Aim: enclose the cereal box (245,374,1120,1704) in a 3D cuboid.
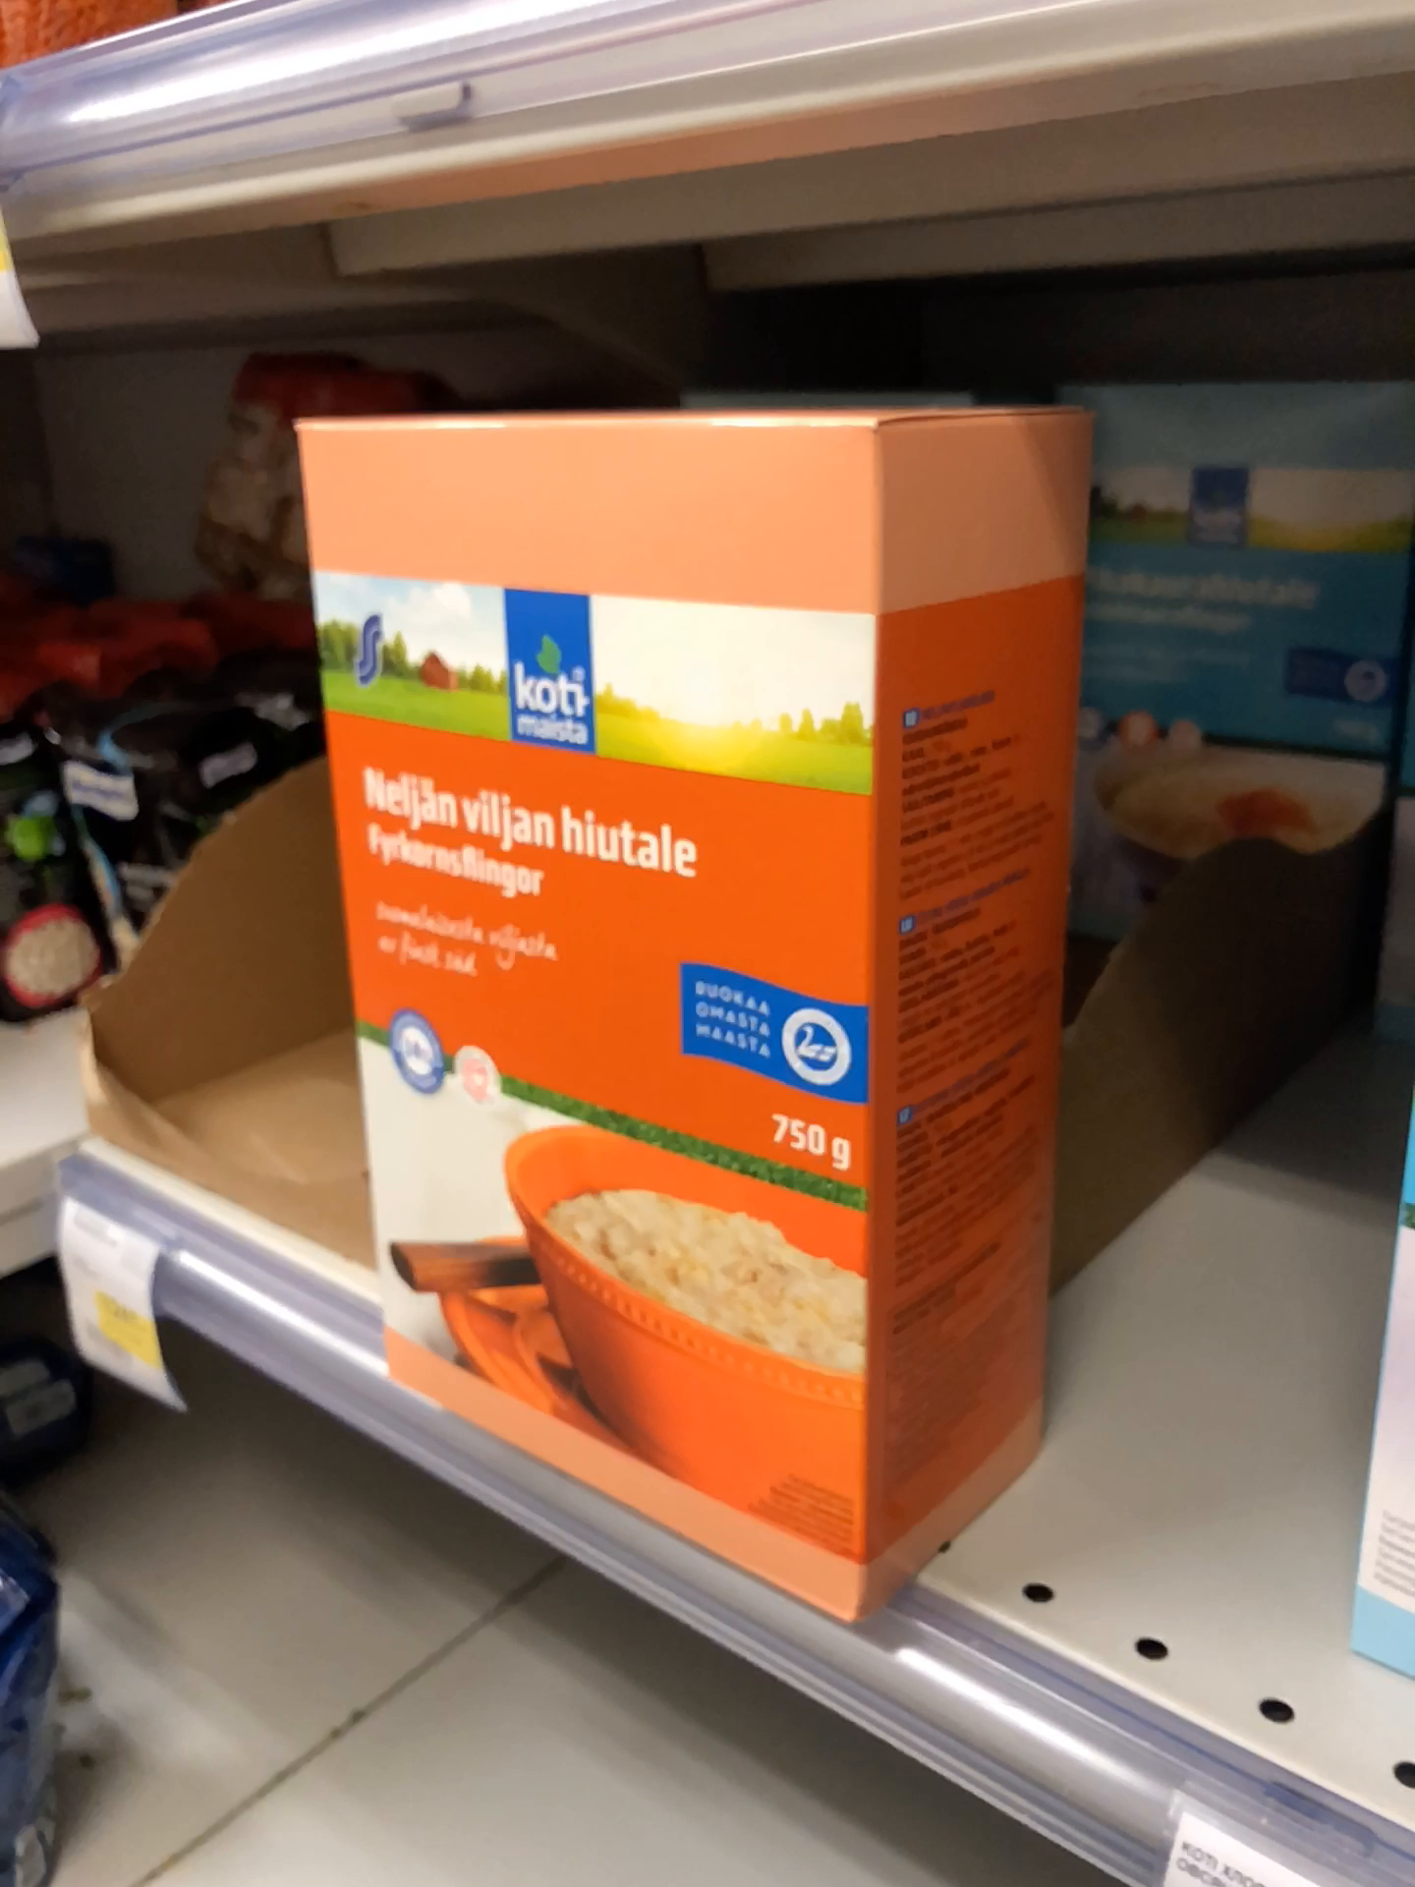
[{"bbox_3d":[-0.008,0.006,0.333,0.150,0.229,0.080,13,22,38],"label":"cereal box"}]
